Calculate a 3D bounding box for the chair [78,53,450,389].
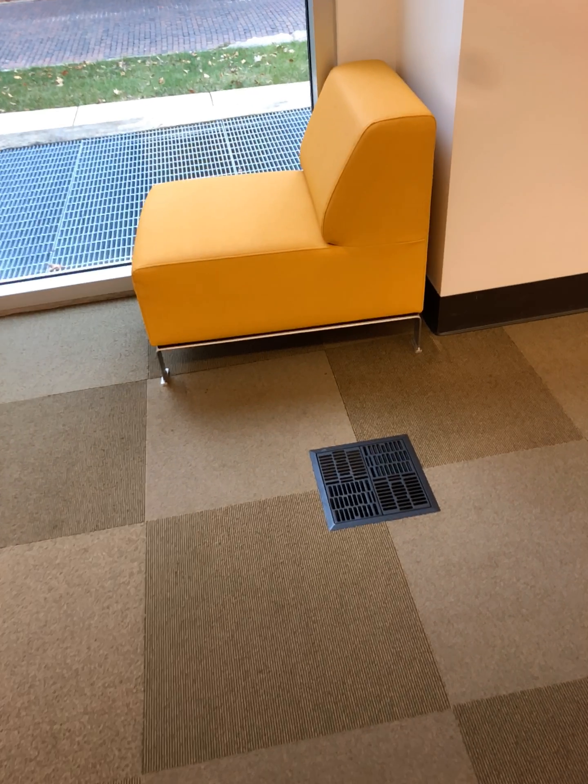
[{"bbox_3d":[-0.076,-0.572,2.120,0.946,0.751,0.674,-8,40,-2],"label":"chair"}]
